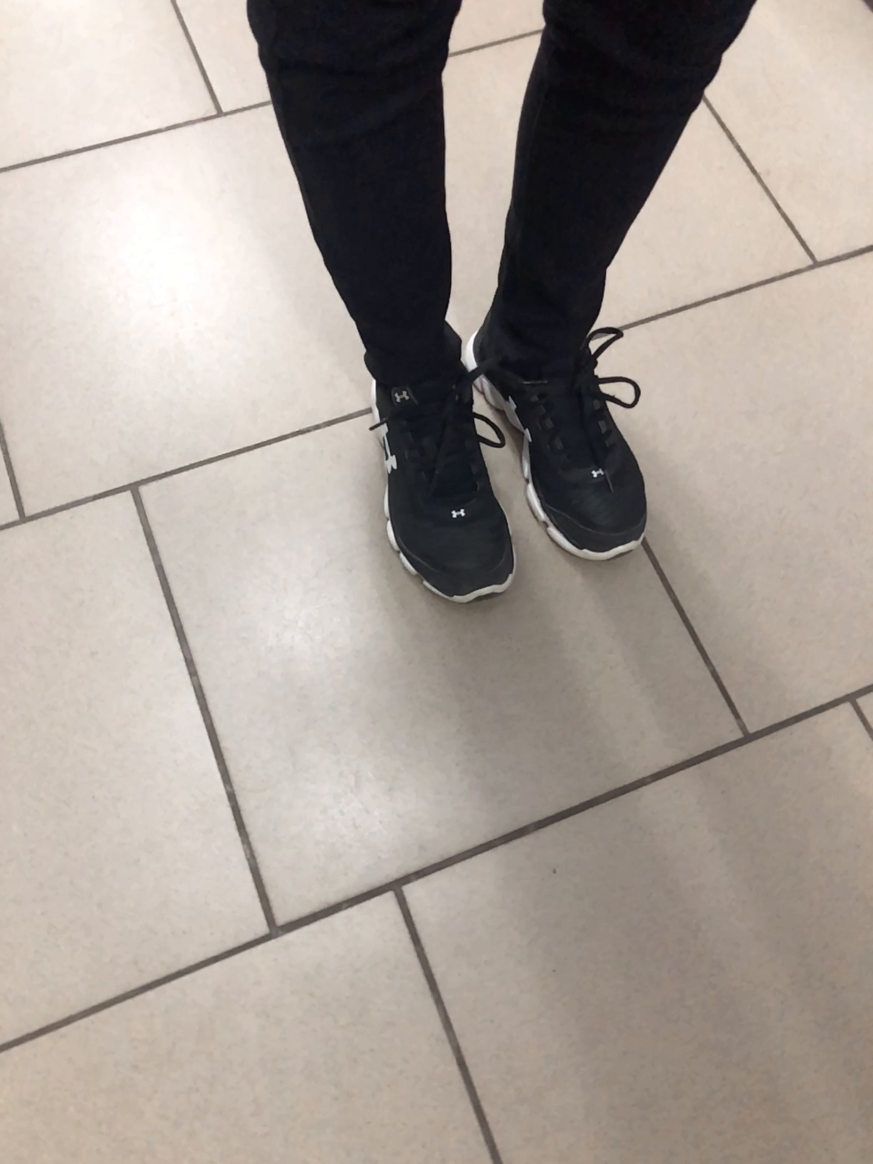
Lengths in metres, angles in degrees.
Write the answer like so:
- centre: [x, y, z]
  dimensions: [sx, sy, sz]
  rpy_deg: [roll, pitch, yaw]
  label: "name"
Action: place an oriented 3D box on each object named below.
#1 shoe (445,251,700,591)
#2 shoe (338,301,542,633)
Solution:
- centre: [0.109, -0.144, 0.841]
  dimensions: [0.110, 0.090, 0.270]
  rpy_deg: [-19, 69, -9]
  label: "shoe"
- centre: [-0.003, -0.102, 0.831]
  dimensions: [0.110, 0.090, 0.260]
  rpy_deg: [-12, 68, -7]
  label: "shoe"
